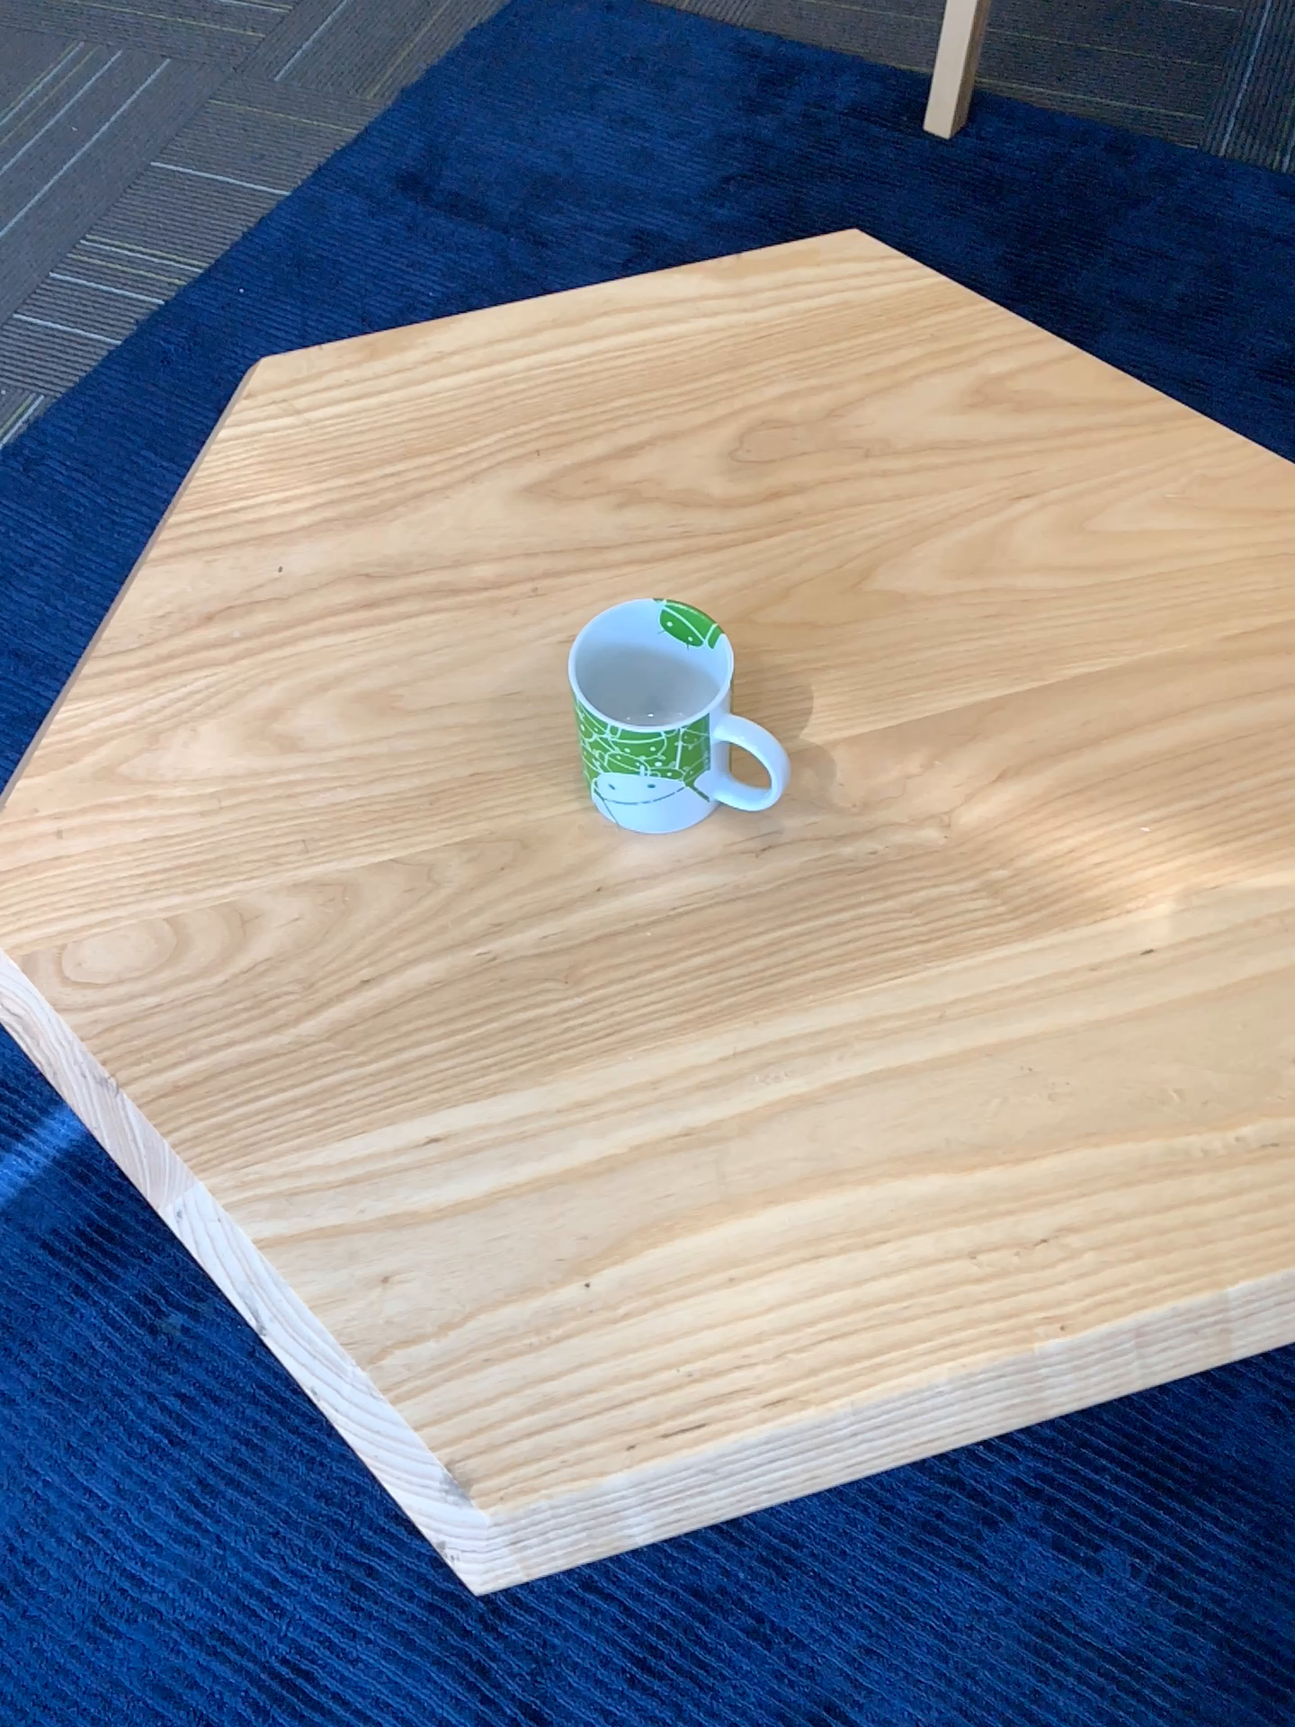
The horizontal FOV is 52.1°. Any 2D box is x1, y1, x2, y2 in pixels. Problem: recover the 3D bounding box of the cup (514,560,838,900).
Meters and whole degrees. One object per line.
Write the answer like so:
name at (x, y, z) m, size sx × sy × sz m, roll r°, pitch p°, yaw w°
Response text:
cup at (0.015, -0.065, 0.651) m, size 0.120 × 0.090 × 0.090 m, roll 30°, pitch 66°, yaw 18°
